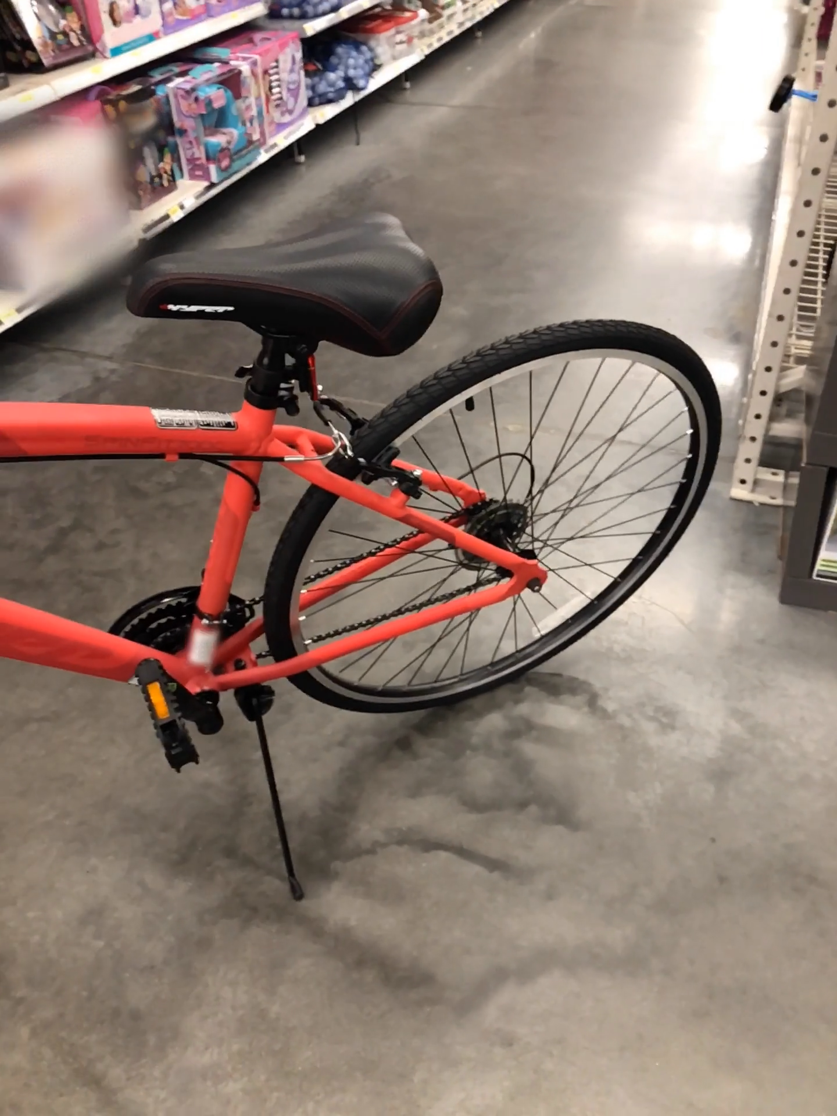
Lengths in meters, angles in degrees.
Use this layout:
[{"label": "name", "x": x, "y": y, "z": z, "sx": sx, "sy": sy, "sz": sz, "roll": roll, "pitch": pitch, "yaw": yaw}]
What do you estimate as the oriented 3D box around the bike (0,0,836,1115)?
[{"label": "bike", "x": -0.335, "y": 0.064, "z": 0.910, "sx": 1.688, "sy": 1.000, "sz": 0.616, "roll": -23, "pitch": 44, "yaw": -21}]
